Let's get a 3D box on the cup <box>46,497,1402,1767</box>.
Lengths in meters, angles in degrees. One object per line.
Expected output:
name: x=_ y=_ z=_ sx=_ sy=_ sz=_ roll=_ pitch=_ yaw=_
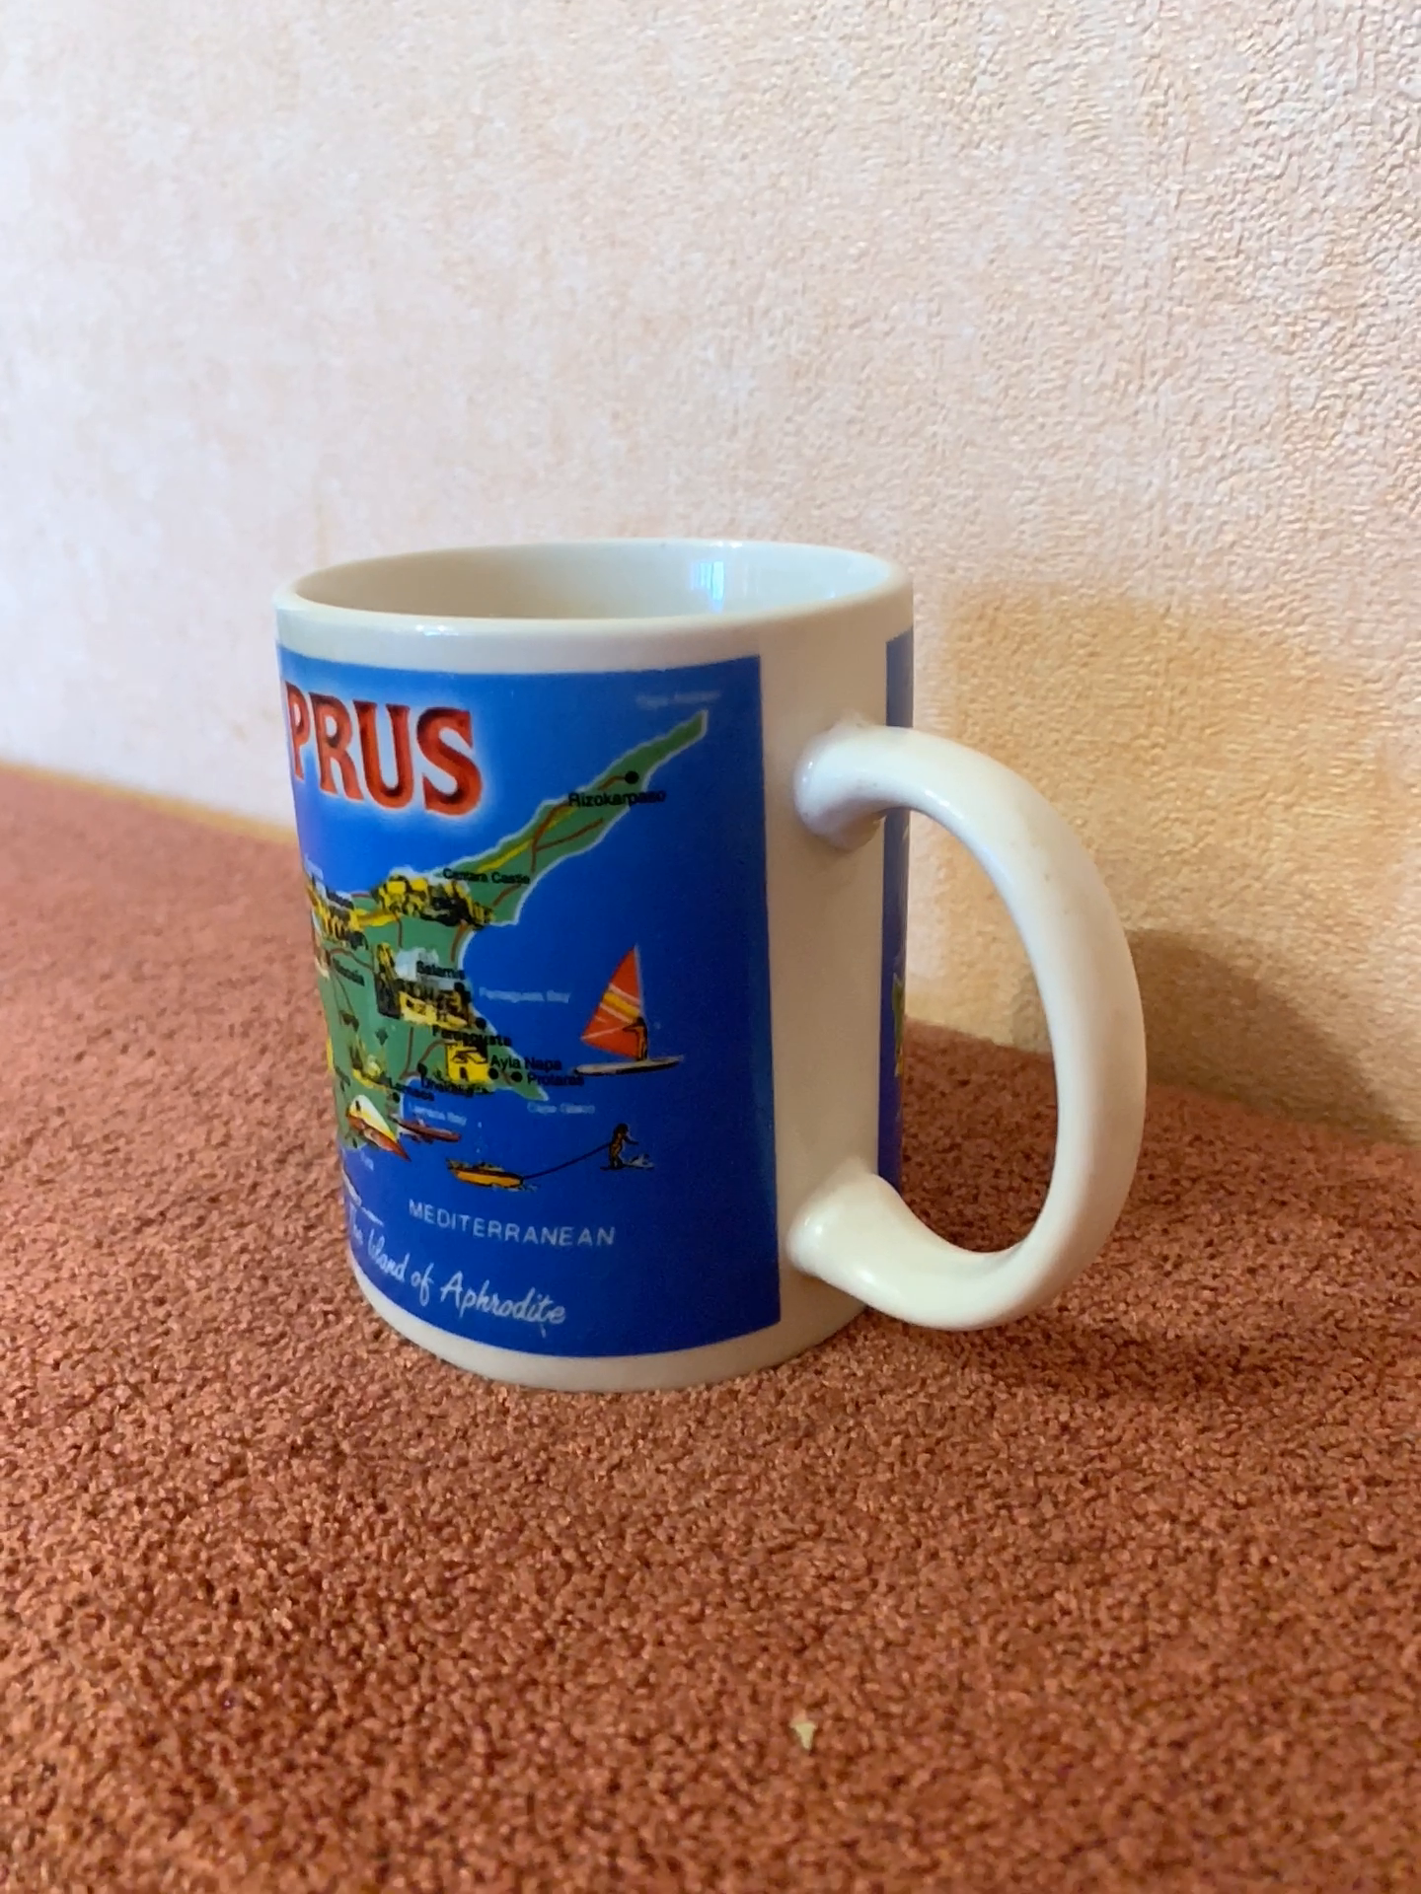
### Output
cup: x=-0.001 y=0.000 z=0.175 sx=0.119 sy=0.091 sz=0.085 roll=16 pitch=29 yaw=41
